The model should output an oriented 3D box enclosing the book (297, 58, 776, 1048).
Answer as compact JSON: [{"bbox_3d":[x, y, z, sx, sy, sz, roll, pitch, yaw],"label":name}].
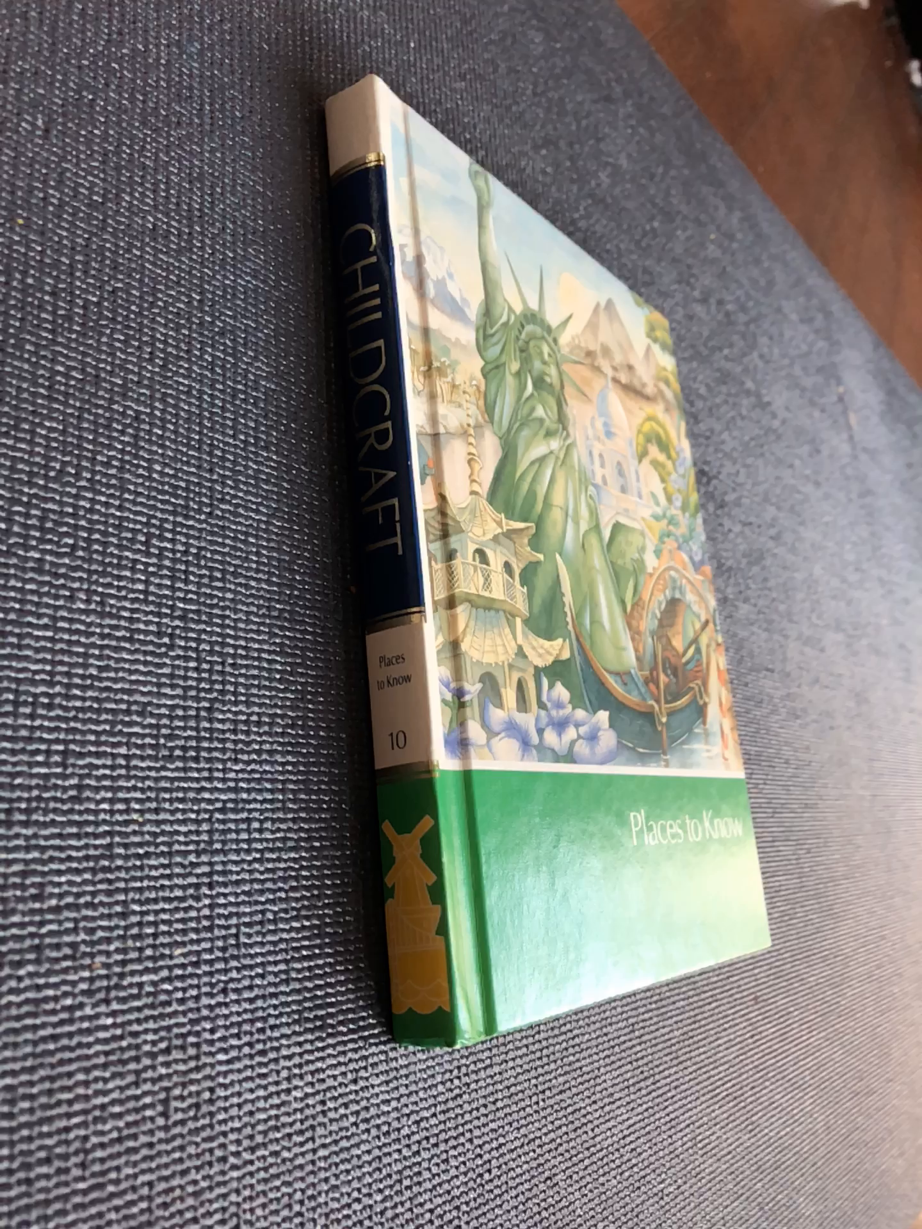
[{"bbox_3d":[0.033,-0.012,0.332,0.191,0.030,0.250,14,66,-53],"label":"book"}]
